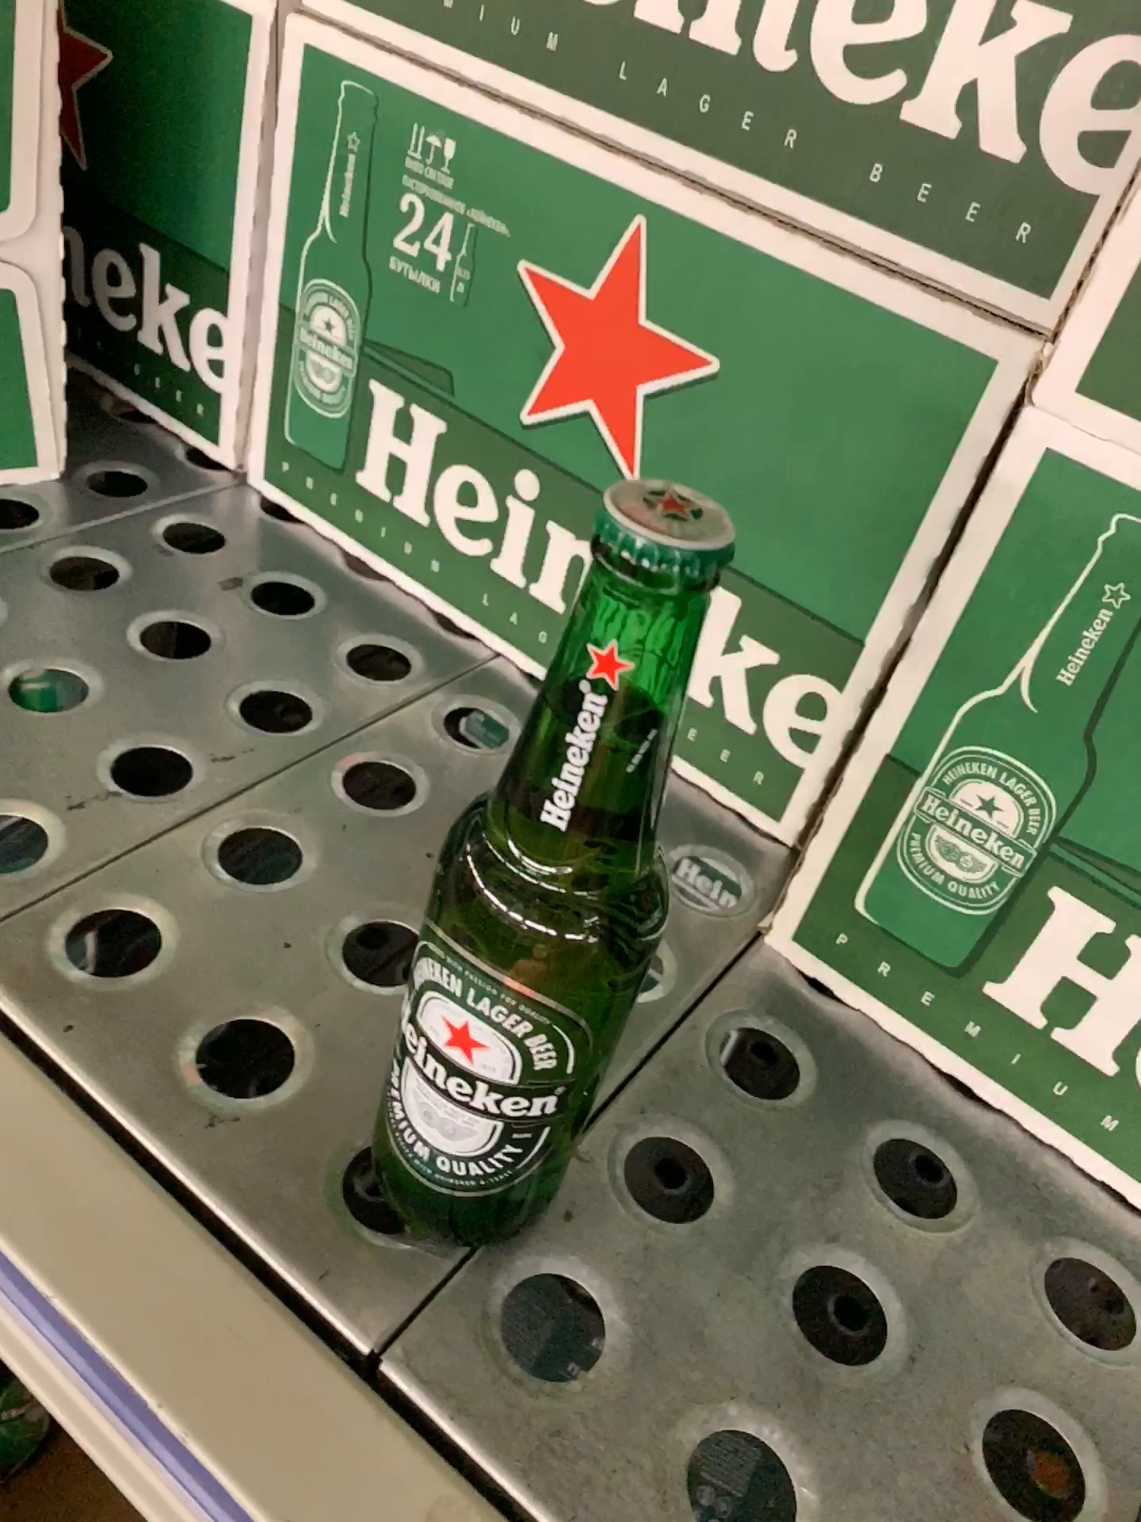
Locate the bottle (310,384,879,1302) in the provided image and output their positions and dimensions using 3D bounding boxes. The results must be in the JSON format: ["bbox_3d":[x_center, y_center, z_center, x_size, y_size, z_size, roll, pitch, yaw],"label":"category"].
[{"bbox_3d":[-0.008,0.034,0.285,0.060,0.225,0.060,11,38,-9],"label":"bottle"}]
